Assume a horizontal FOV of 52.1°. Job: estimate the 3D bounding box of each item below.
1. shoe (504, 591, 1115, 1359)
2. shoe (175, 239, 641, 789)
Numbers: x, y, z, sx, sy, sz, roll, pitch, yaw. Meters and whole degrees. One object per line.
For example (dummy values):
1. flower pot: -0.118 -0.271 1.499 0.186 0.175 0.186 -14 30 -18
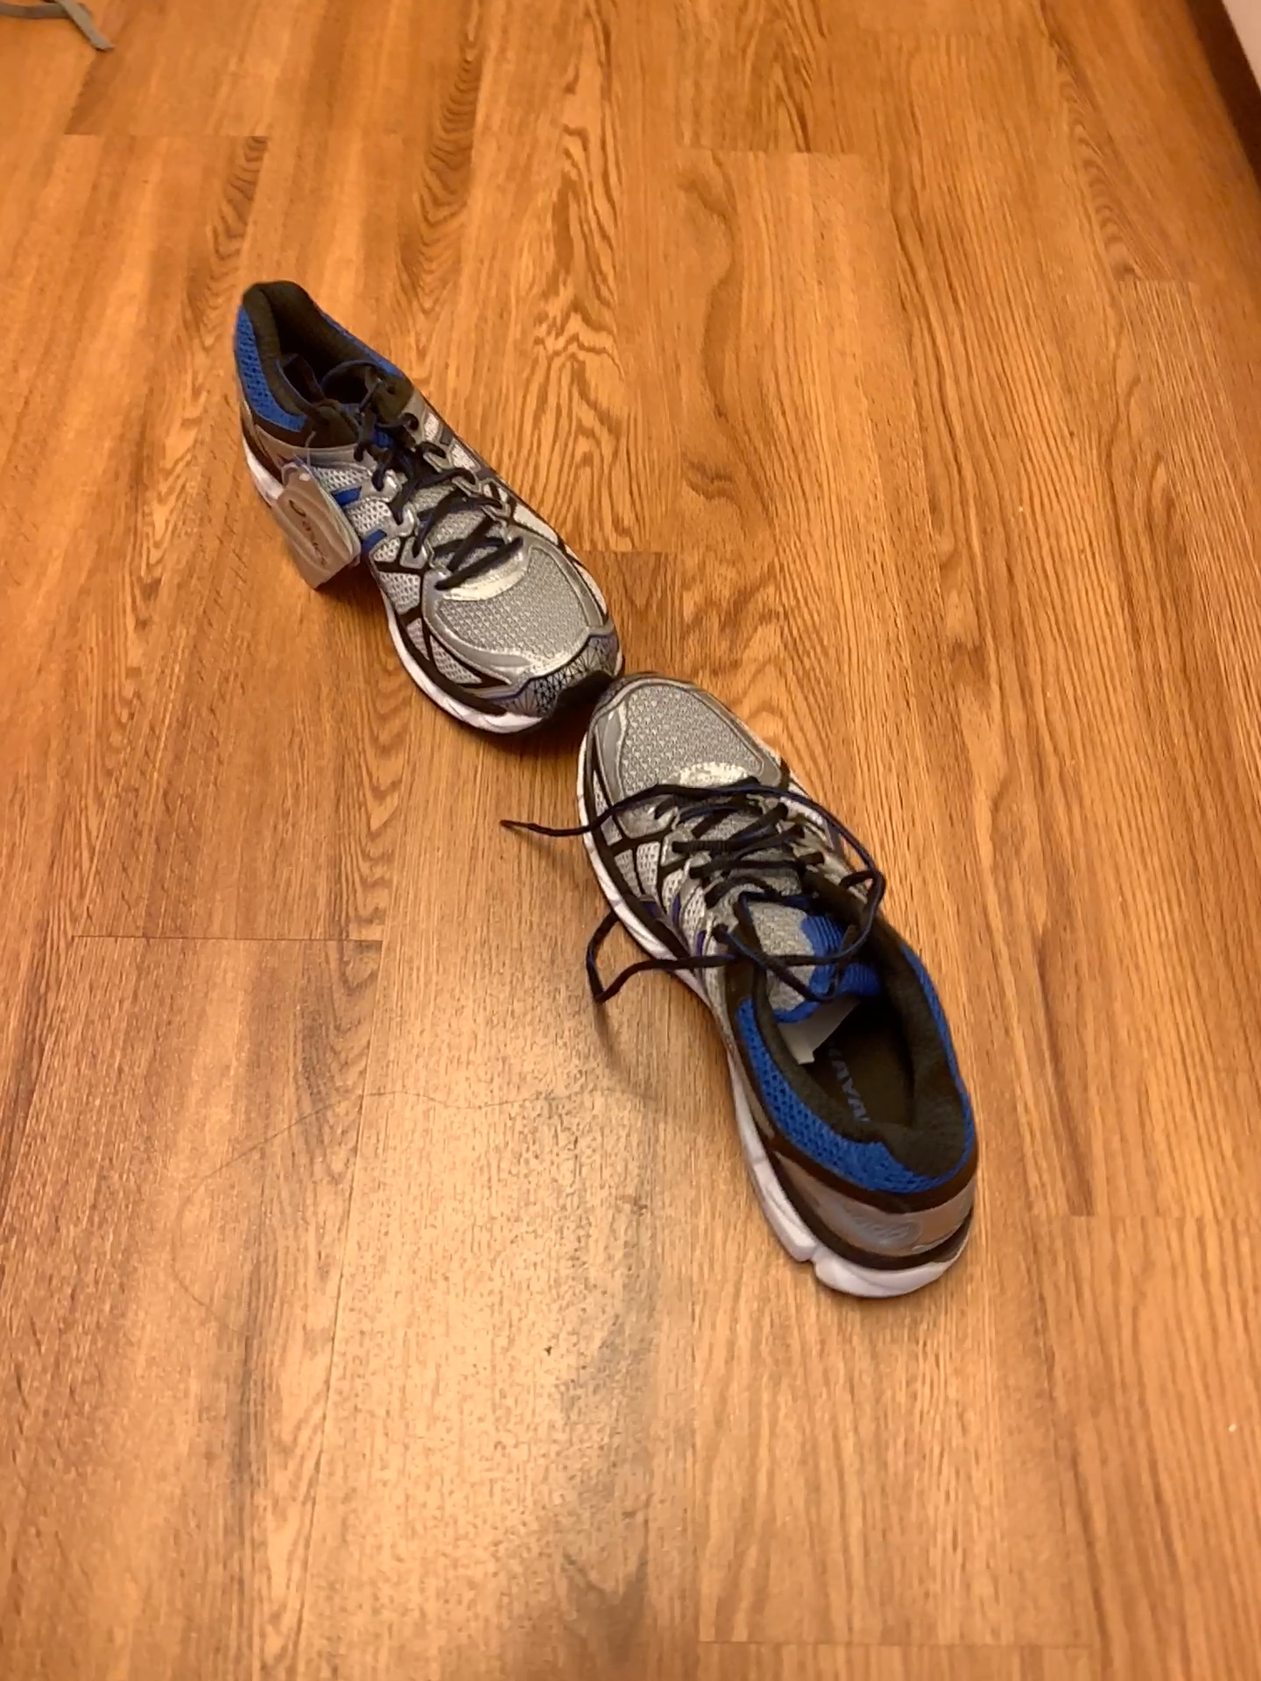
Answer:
1. shoe: 0.058 0.048 0.565 0.100 0.100 0.311 -24 63 -14
2. shoe: -0.120 -0.180 0.684 0.100 0.100 0.291 -30 65 -17
